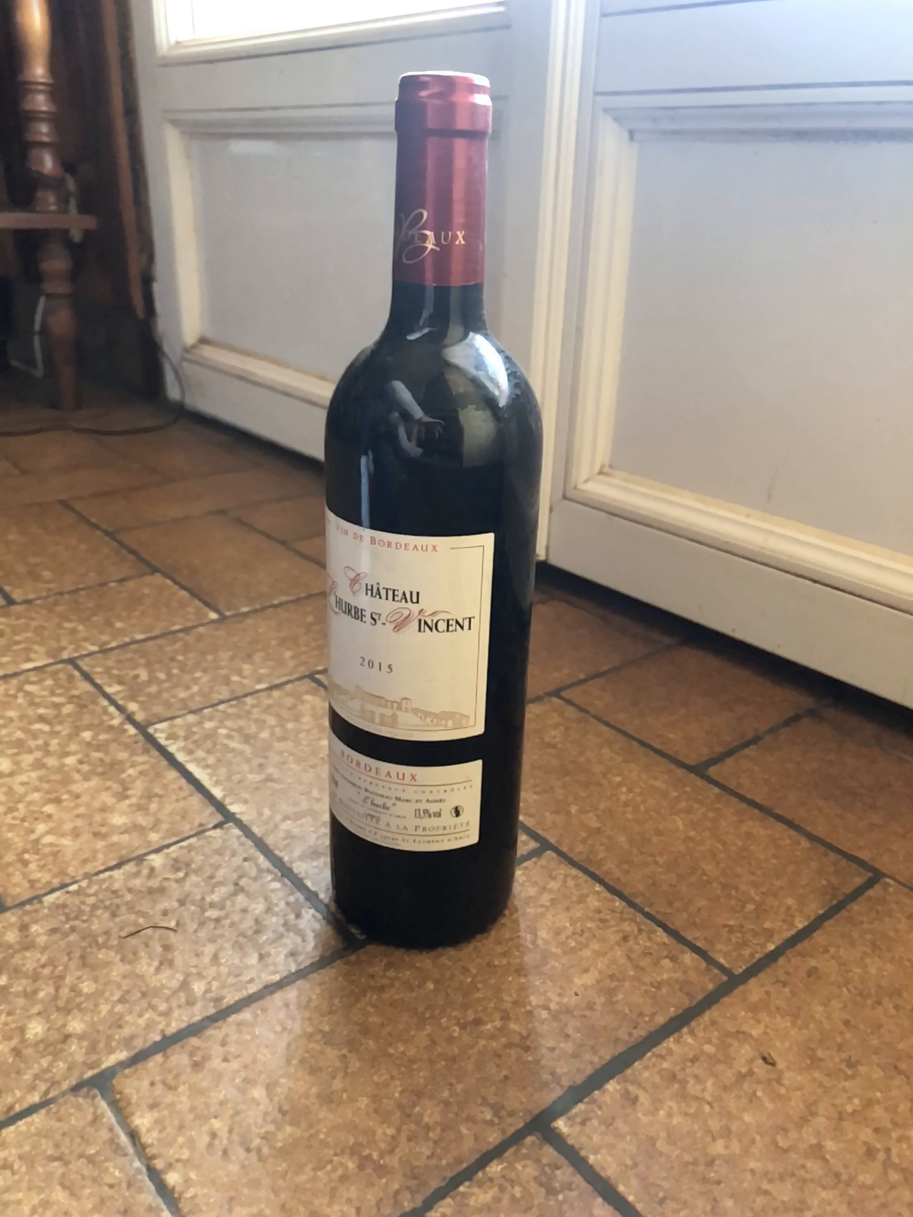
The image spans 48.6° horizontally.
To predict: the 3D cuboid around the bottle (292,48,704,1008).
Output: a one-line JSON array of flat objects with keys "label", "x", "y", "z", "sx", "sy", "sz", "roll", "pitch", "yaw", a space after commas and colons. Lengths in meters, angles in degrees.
[{"label": "bottle", "x": 0.012, "y": -0.021, "z": 0.344, "sx": 0.090, "sy": 0.288, "sz": 0.091, "roll": 2, "pitch": 23, "yaw": -1}]
